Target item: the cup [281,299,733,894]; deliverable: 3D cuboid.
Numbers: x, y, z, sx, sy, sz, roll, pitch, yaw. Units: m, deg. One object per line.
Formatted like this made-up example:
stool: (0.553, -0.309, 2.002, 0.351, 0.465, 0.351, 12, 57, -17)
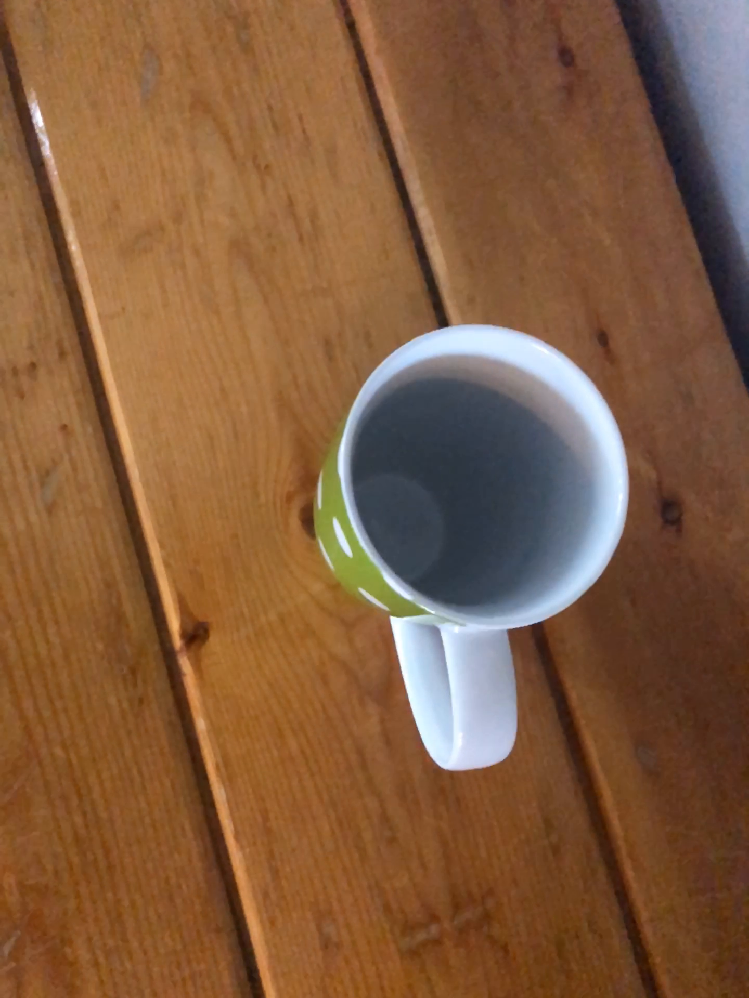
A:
cup: (0.028, 0.032, 0.302, 0.100, 0.150, 0.150, -7, 83, -9)
